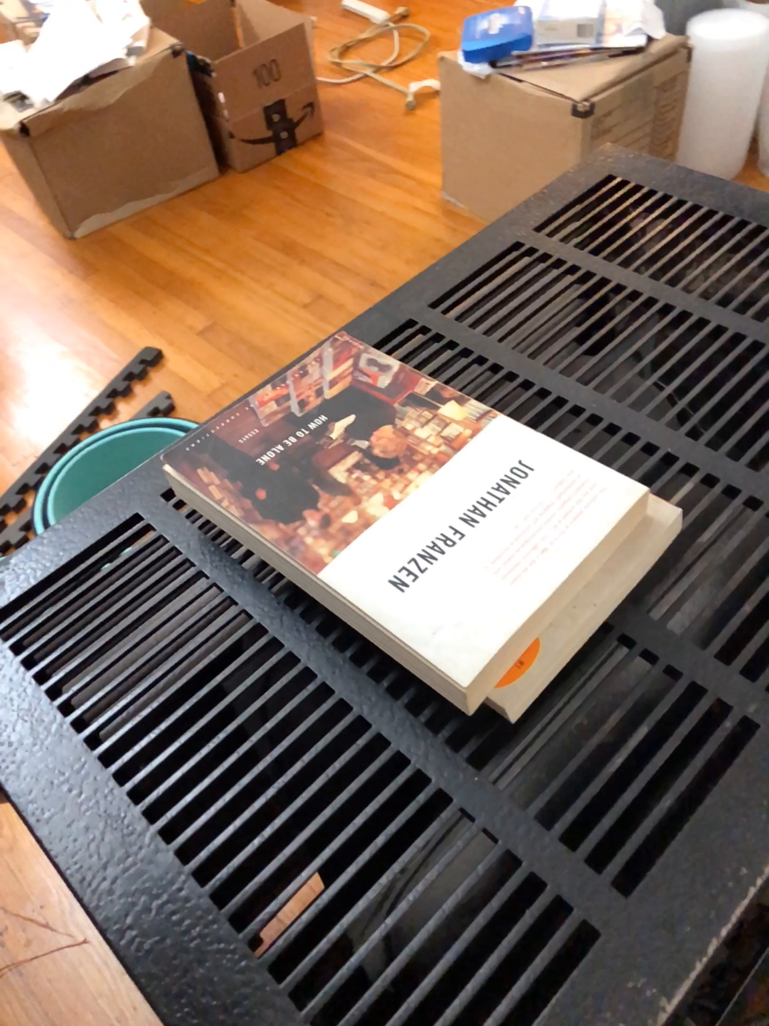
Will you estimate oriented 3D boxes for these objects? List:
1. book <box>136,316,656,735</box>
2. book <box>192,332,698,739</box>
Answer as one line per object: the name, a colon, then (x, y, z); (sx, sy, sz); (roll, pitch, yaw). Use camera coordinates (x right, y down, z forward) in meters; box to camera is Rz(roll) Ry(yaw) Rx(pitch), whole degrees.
book: (0.001, -0.012, 0.427); (0.211, 0.030, 0.150); (32, 61, 30)
book: (0.026, -0.006, 0.443); (0.211, 0.030, 0.150); (32, 61, 30)
